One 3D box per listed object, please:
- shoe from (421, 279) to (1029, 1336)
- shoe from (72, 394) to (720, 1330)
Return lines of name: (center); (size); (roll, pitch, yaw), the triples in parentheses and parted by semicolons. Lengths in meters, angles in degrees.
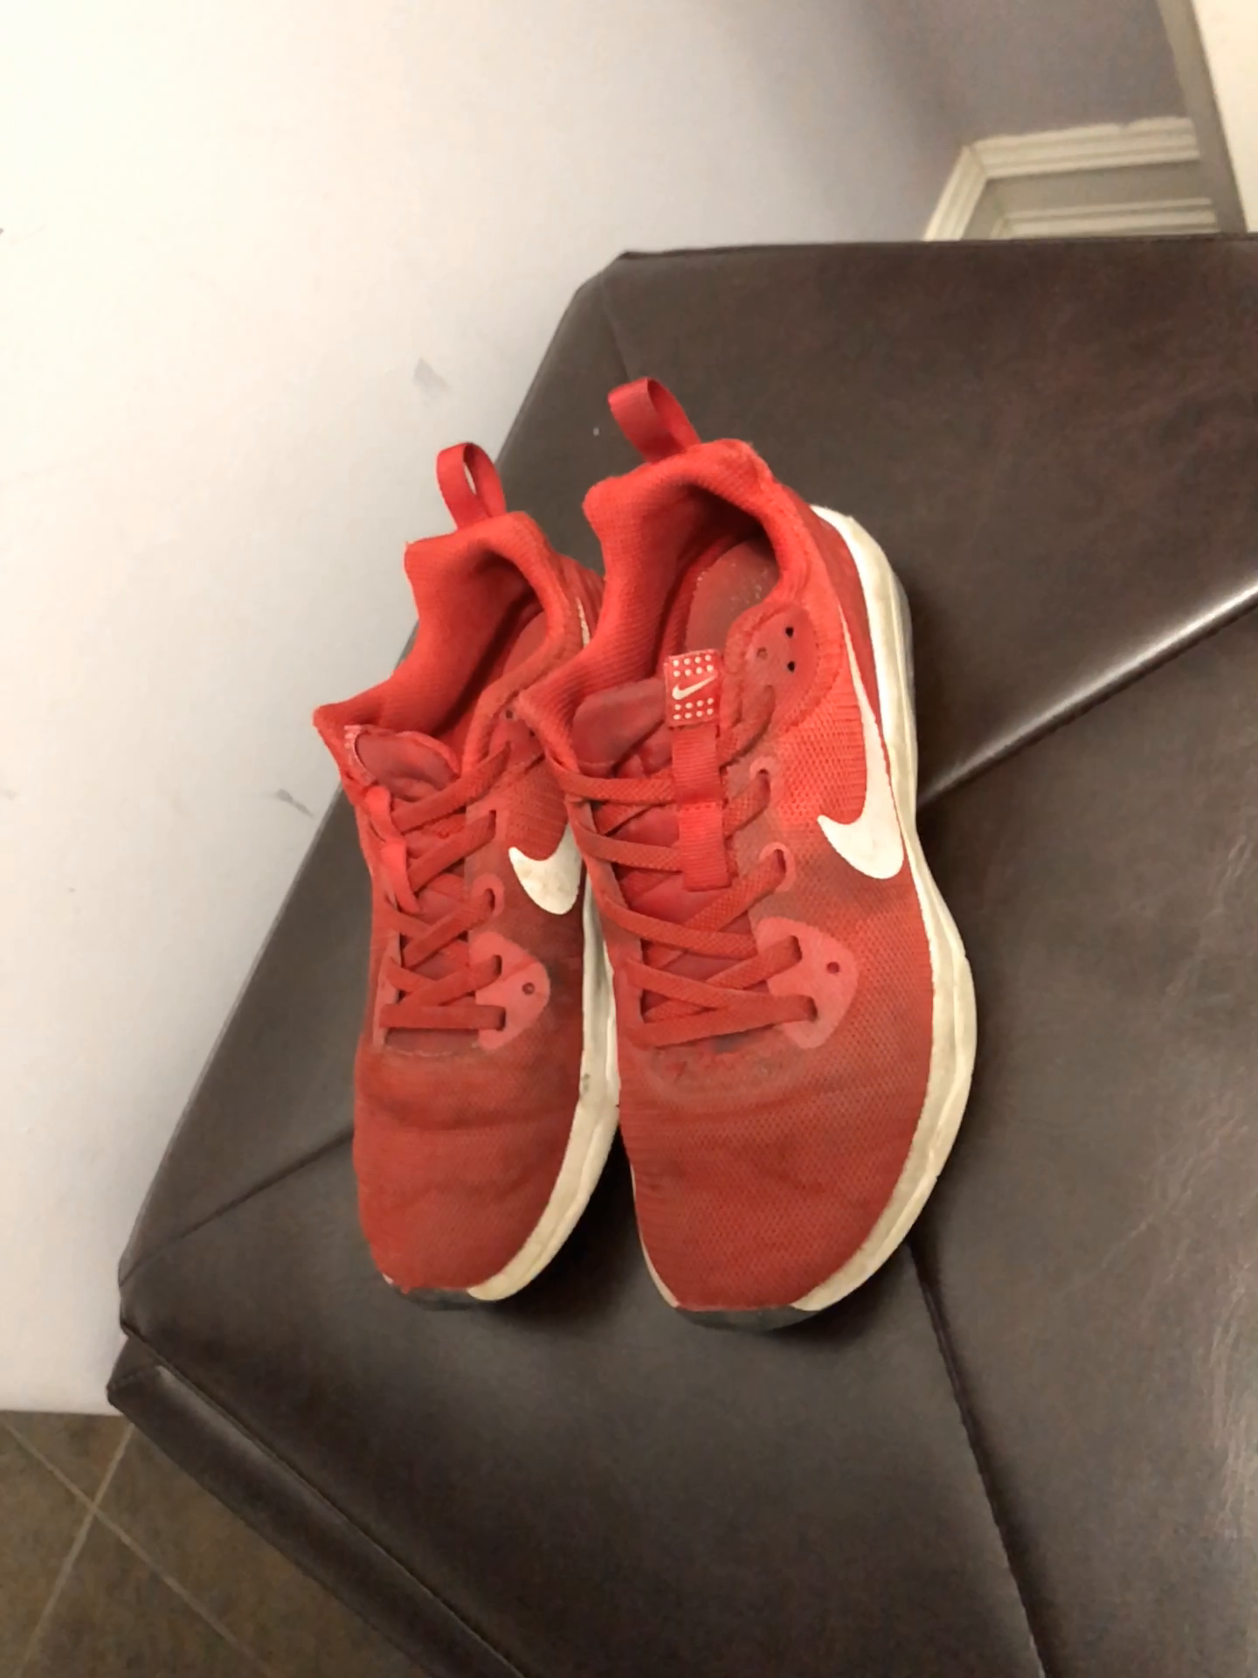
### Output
shoe: (0.028, 0.001, 0.340); (0.096, 0.100, 0.220); (-10, 67, 29)
shoe: (-0.054, 0.010, 0.387); (0.096, 0.100, 0.220); (-2, 71, 33)
